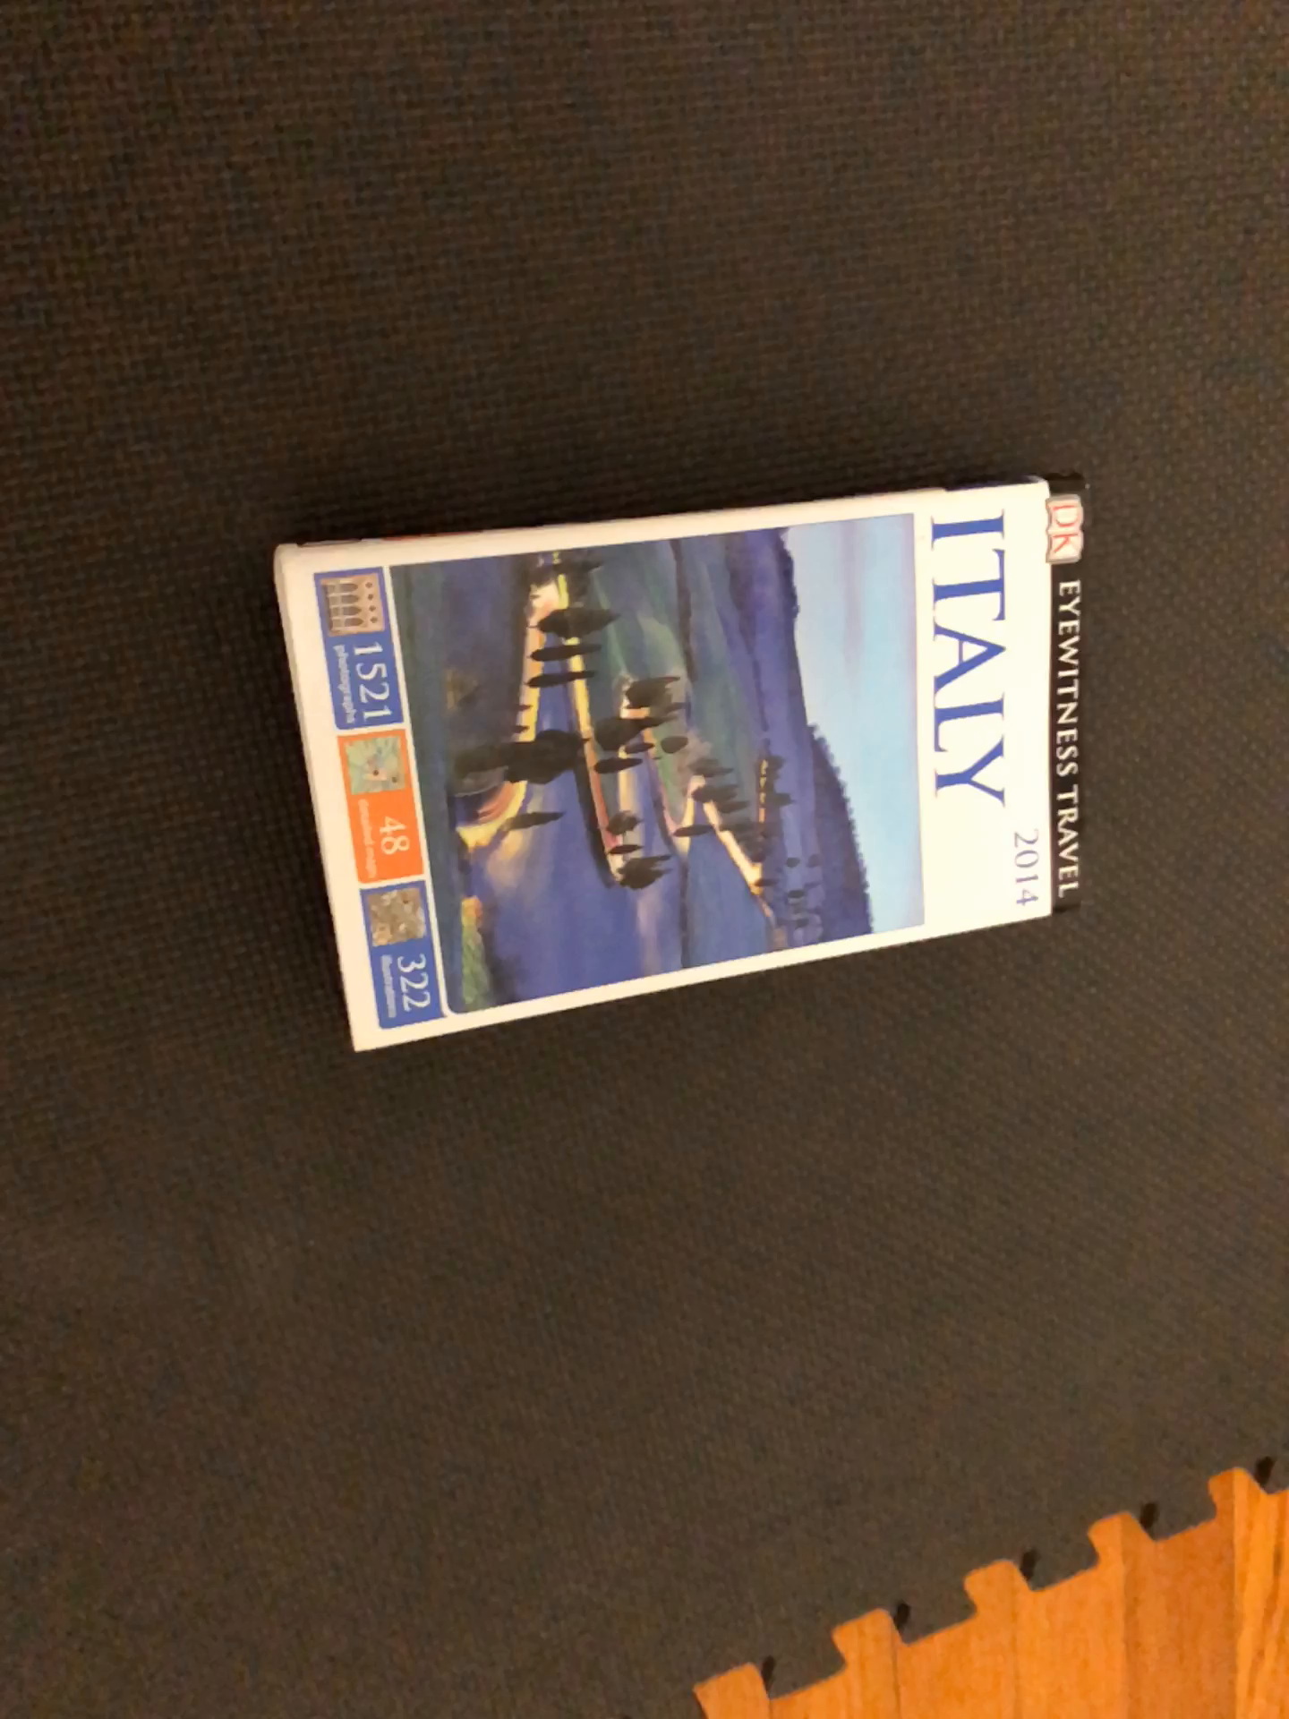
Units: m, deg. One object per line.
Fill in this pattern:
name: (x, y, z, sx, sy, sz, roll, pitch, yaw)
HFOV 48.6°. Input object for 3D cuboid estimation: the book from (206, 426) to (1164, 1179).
book: (0.024, -0.023, 0.392, 0.250, 0.040, 0.160, -11, 105, -16)
